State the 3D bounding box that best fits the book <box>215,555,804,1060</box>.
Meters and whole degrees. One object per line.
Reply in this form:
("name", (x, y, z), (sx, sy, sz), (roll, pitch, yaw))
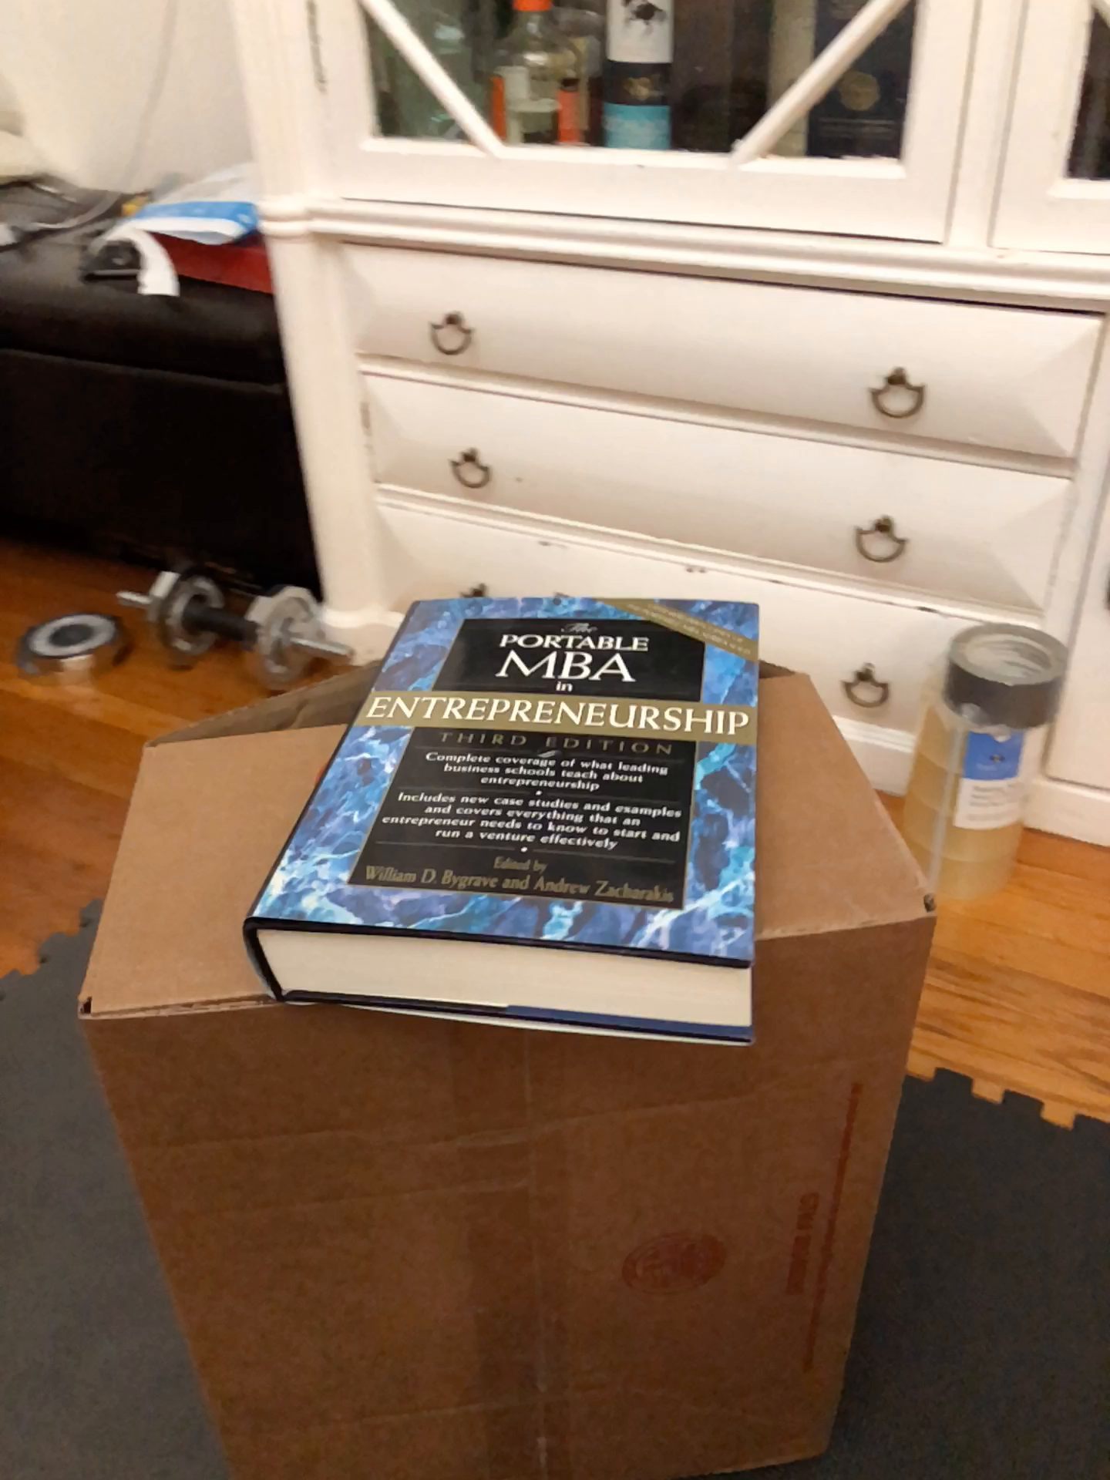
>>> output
("book", (0.000, 0.009, 0.554), (0.210, 0.060, 0.272), (2, 36, 8))
